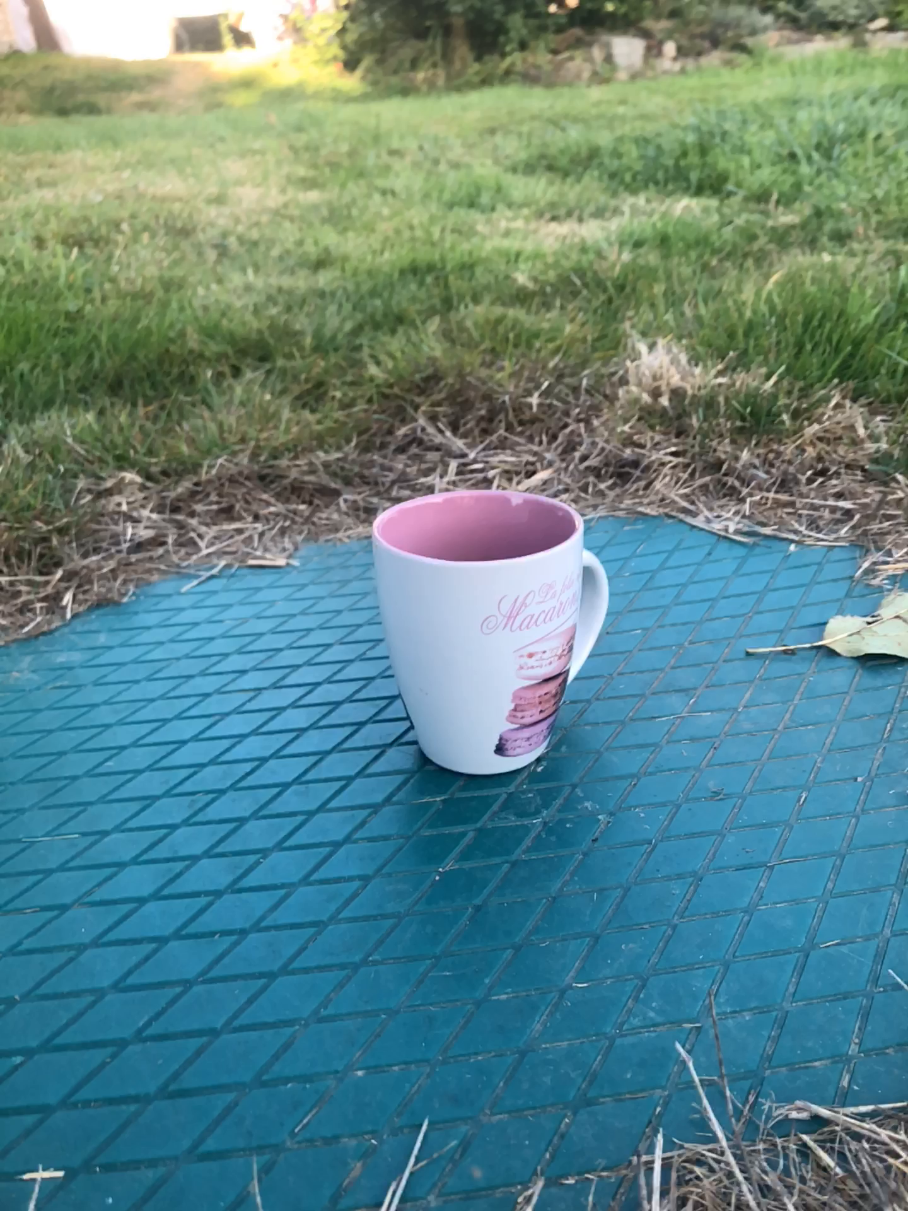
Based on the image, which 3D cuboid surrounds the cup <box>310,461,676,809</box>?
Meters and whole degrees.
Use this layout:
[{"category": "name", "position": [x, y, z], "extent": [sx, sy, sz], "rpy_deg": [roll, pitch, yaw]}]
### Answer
[{"category": "cup", "position": [0.020, 0.004, 0.437], "extent": [0.121, 0.091, 0.095], "rpy_deg": [-23, 31, -34]}]
